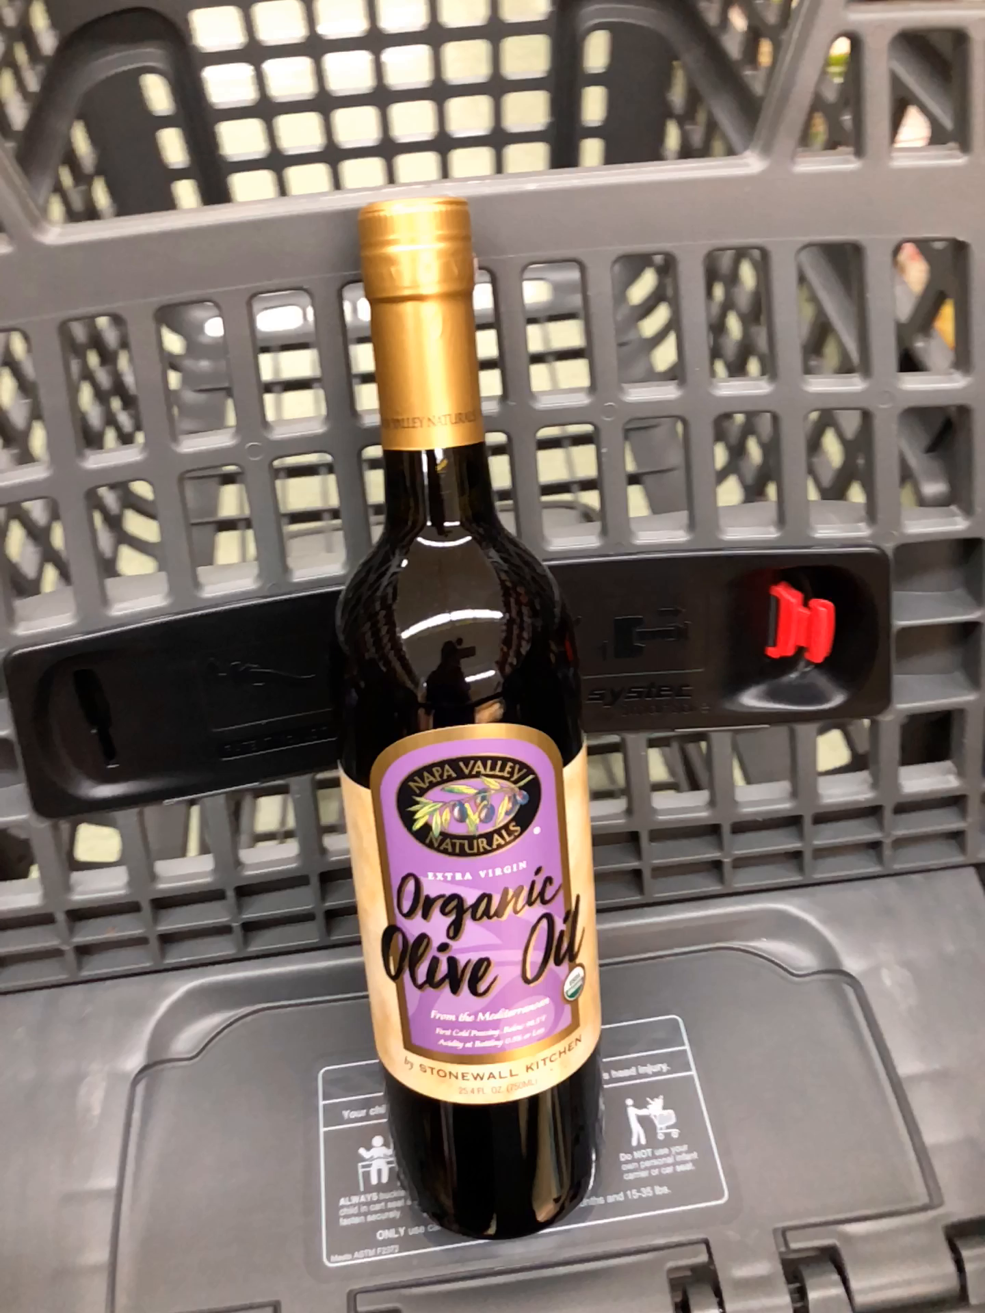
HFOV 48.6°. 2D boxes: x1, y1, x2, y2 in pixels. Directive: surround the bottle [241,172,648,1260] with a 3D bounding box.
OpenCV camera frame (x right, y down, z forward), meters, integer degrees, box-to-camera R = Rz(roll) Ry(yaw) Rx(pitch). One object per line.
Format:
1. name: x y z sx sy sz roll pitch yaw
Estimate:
1. bottle: -0.006 0.026 0.324 0.080 0.300 0.080 -4 19 1
